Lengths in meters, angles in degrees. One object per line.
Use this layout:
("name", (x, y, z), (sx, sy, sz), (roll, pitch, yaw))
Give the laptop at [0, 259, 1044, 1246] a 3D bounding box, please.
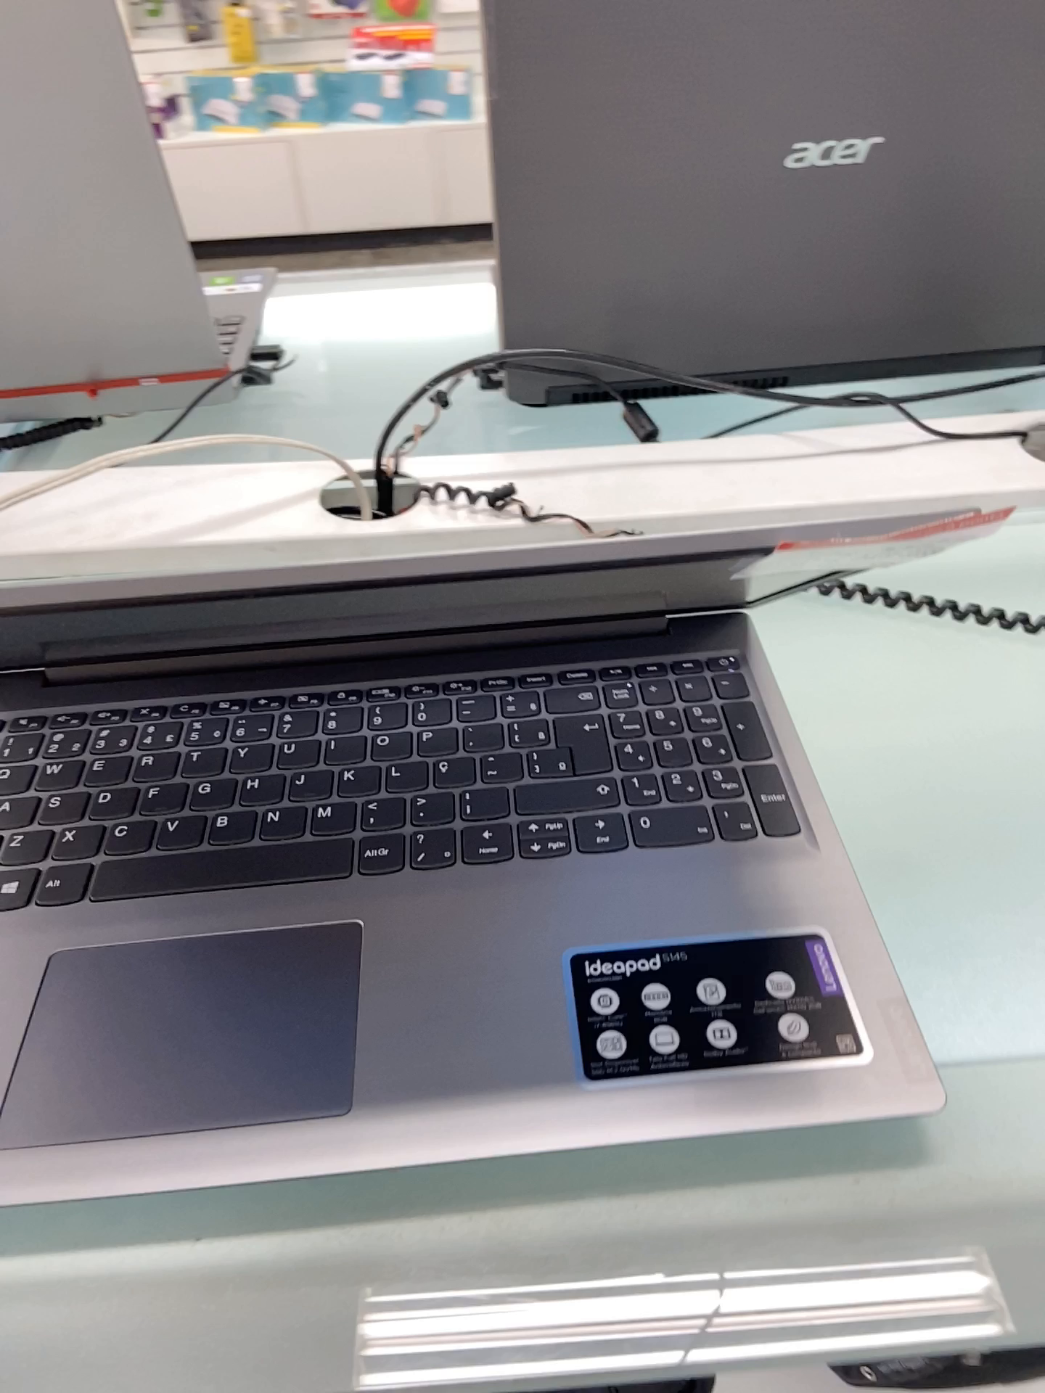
("laptop", (-0.070, -0.005, 0.348), (0.361, 0.160, 0.247), (-5, 40, -2))
